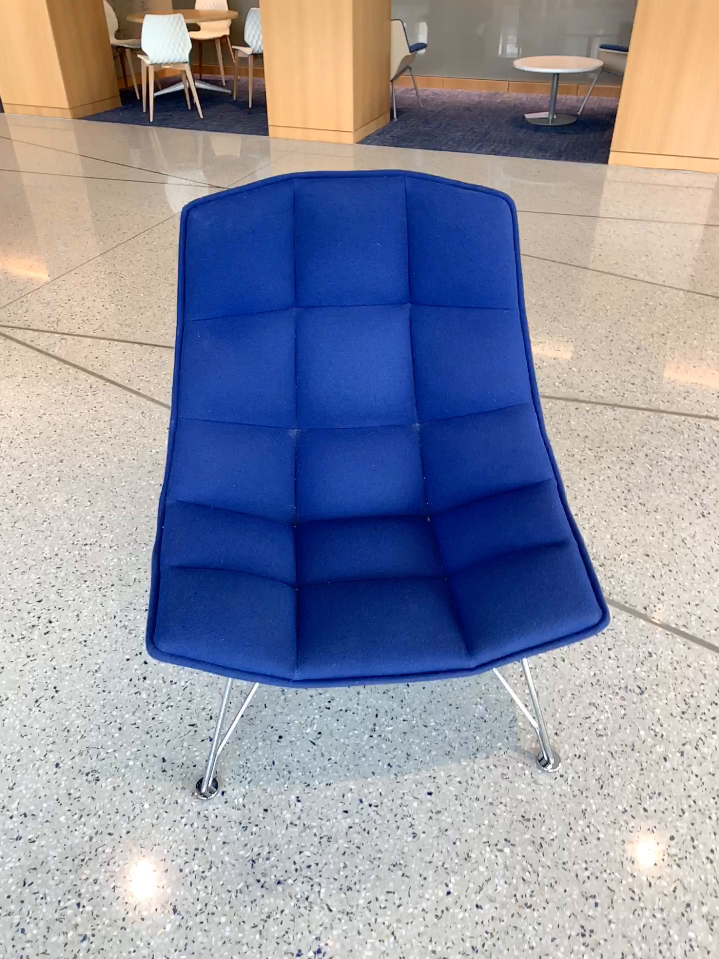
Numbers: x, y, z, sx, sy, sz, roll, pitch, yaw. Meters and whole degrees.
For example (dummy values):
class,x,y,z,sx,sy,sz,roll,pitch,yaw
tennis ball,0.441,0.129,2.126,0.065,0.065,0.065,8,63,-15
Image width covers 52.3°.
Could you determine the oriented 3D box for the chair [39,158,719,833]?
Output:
class,x,y,z,sx,sy,sz,roll,pitch,yaw
chair,0.027,-0.005,1.428,0.798,0.962,0.836,-3,36,-3
